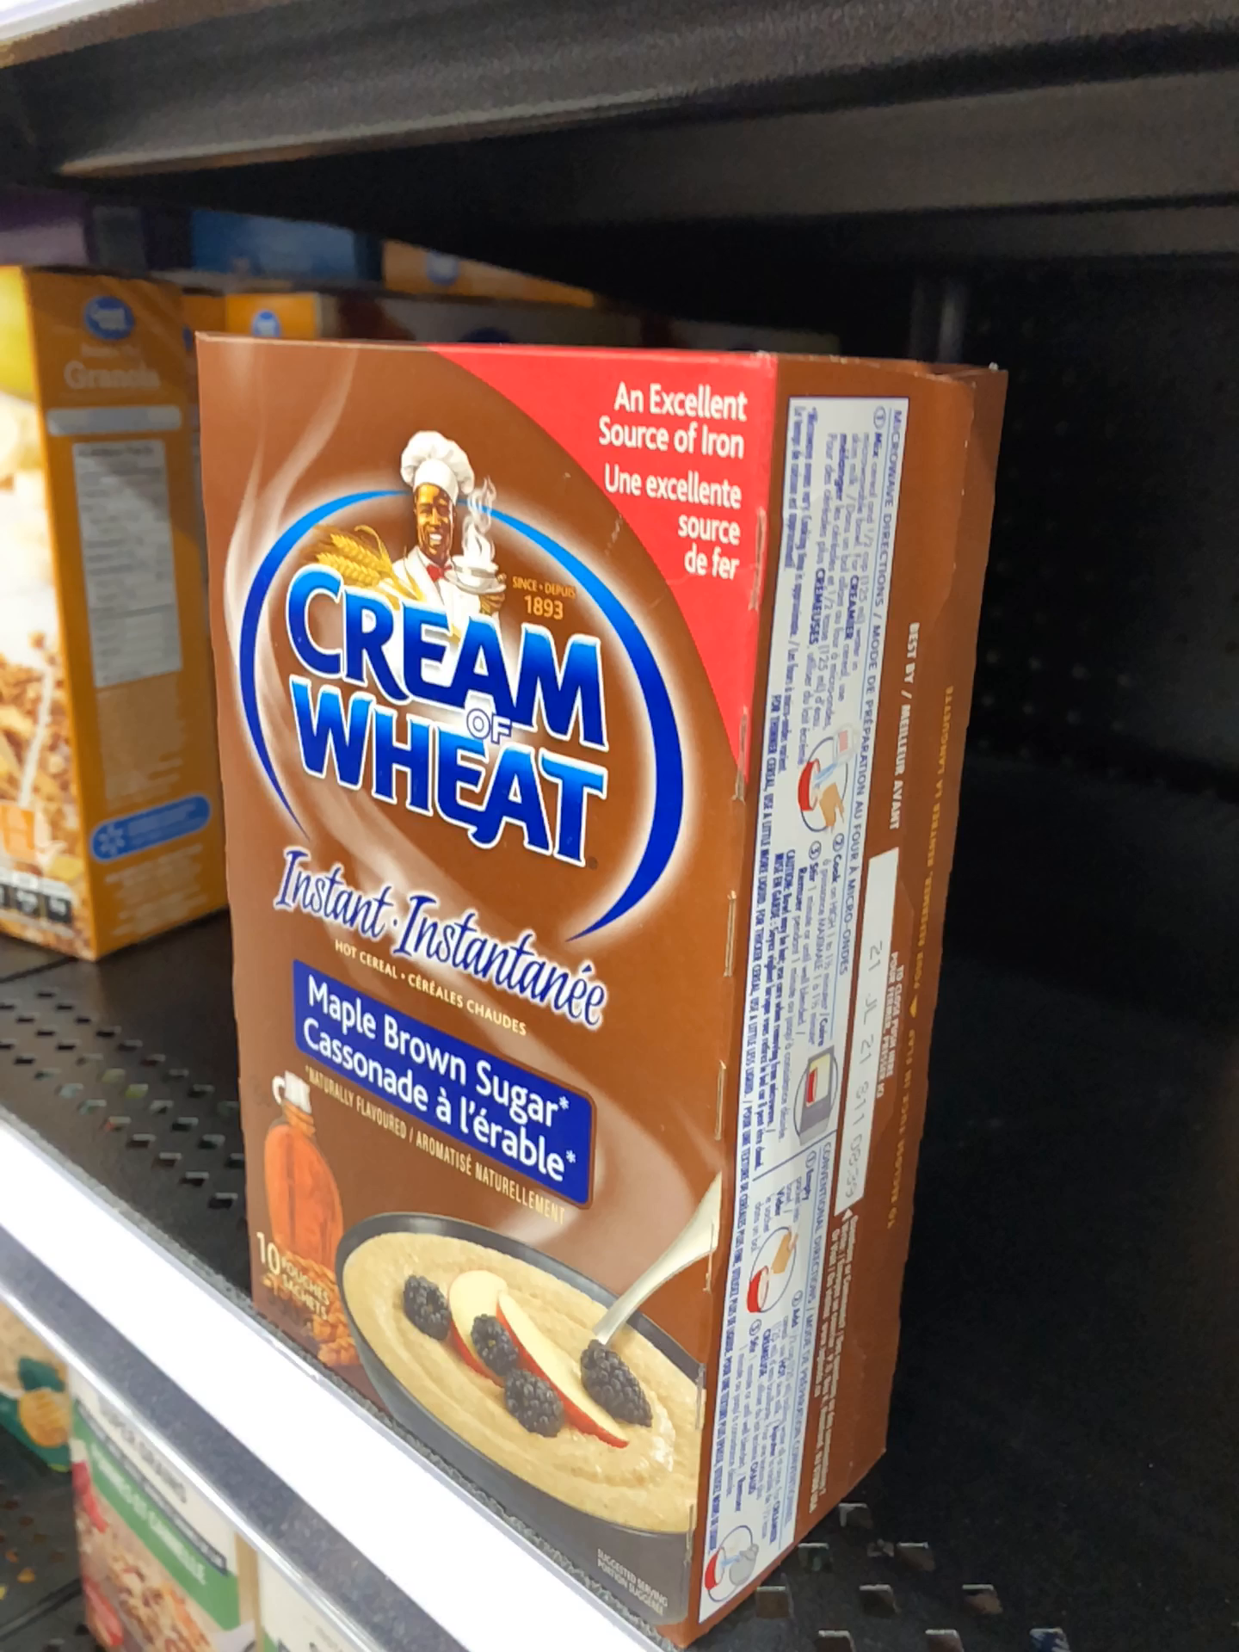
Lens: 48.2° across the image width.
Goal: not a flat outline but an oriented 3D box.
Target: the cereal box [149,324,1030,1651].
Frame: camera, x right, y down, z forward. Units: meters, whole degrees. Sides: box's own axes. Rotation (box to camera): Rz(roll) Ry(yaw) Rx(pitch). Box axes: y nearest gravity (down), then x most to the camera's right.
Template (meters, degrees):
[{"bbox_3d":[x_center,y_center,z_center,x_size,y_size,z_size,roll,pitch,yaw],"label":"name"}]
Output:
[{"bbox_3d":[-0.013,0.023,0.246,0.130,0.209,0.060,17,24,40],"label":"cereal box"}]
